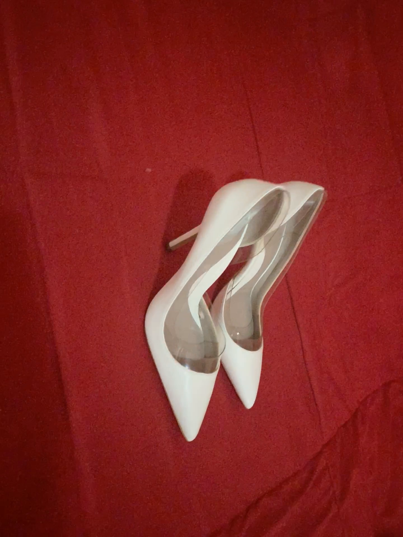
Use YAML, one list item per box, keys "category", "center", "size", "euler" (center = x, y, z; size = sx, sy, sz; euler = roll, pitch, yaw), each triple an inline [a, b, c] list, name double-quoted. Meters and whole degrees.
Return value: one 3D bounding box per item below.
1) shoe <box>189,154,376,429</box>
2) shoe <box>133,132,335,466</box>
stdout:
- category: "shoe"
  center: [0.075, 0.031, 0.435]
  size: [0.098, 0.140, 0.240]
  euler: [11, 70, -43]
- category: "shoe"
  center: [0.019, 0.031, 0.376]
  size: [0.098, 0.136, 0.243]
  euler: [11, 70, -43]
